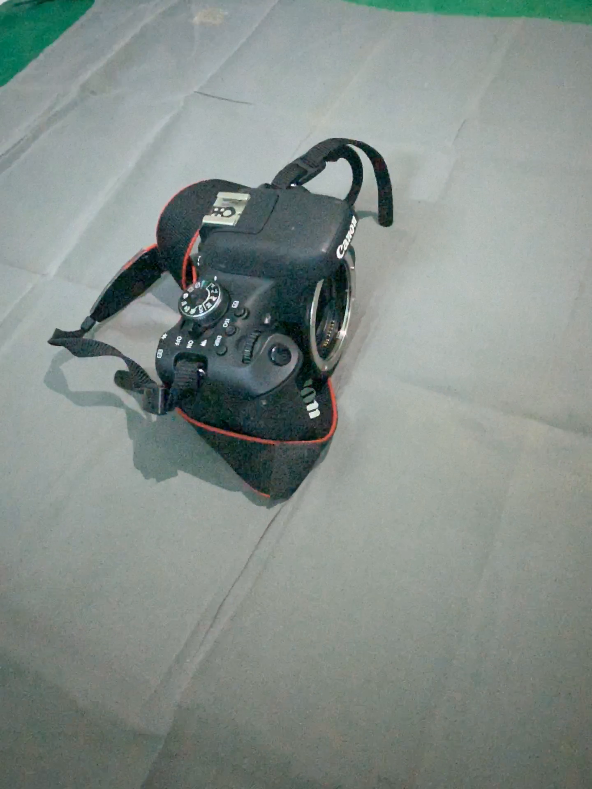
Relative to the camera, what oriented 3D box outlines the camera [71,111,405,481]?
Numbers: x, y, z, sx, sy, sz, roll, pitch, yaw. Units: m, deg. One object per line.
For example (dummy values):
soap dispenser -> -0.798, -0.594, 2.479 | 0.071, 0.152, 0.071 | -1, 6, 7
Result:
camera -> -0.014, -0.049, 0.285 | 0.090, 0.088, 0.133 | 15, 59, 18
